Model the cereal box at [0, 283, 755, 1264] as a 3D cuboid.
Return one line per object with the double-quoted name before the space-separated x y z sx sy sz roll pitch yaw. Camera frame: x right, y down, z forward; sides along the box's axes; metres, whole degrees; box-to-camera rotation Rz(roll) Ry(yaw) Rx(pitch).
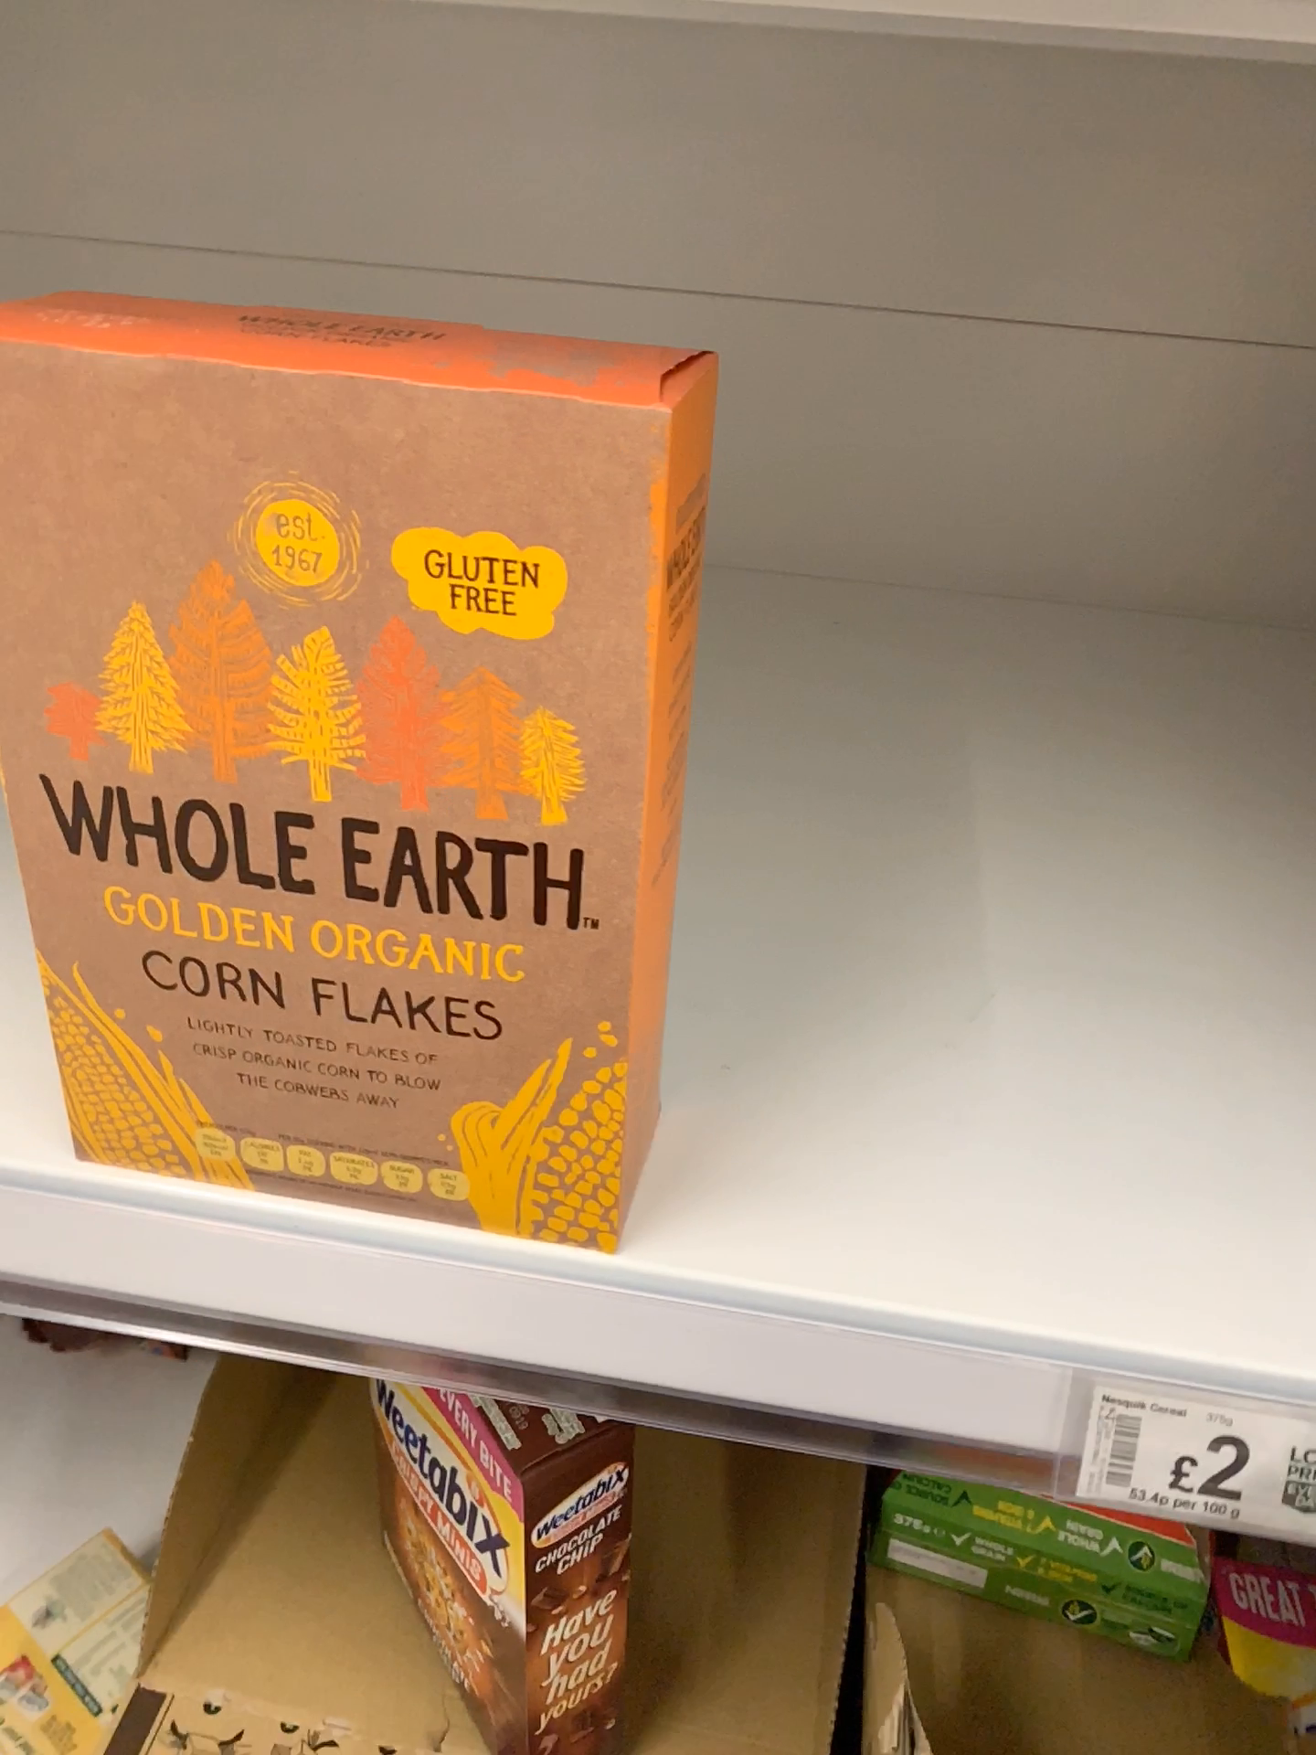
"cereal box" -0.087 -0.027 0.424 0.200 0.267 0.091 8 30 7
